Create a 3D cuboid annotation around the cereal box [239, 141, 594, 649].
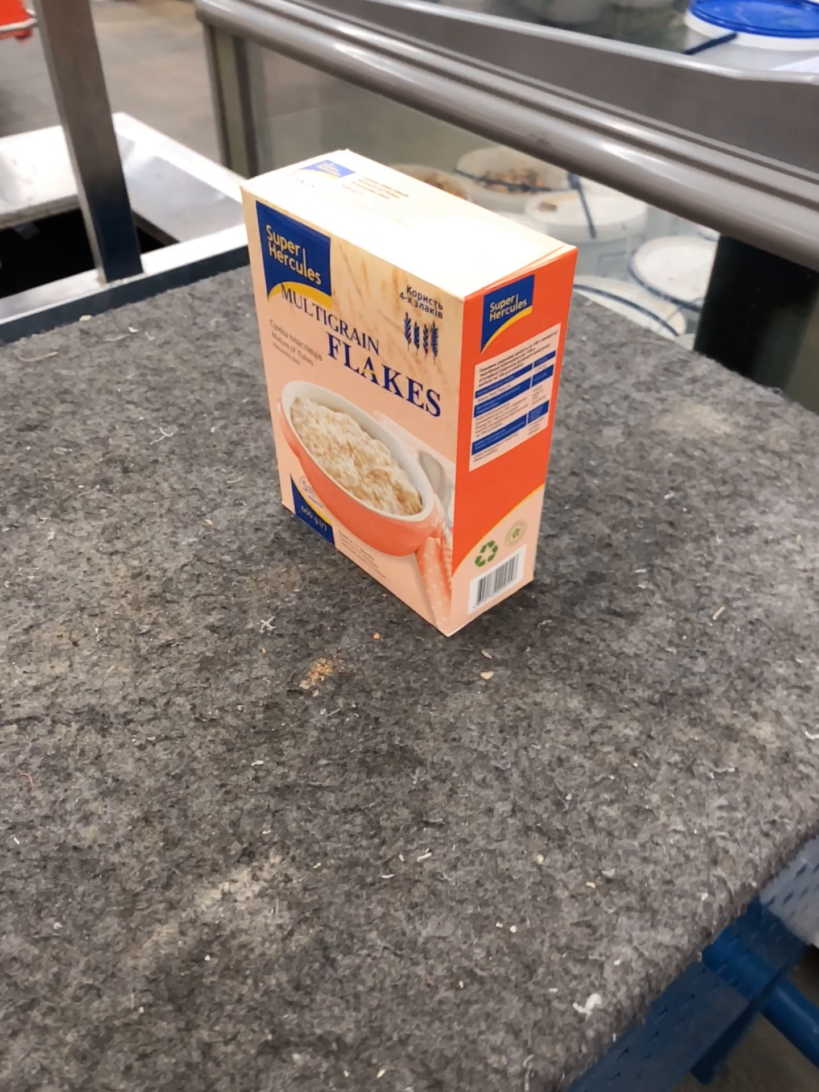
[{"bbox_3d":[0.000,-0.074,0.456,0.070,0.199,0.151,-32,51,-28],"label":"cereal box"}]
